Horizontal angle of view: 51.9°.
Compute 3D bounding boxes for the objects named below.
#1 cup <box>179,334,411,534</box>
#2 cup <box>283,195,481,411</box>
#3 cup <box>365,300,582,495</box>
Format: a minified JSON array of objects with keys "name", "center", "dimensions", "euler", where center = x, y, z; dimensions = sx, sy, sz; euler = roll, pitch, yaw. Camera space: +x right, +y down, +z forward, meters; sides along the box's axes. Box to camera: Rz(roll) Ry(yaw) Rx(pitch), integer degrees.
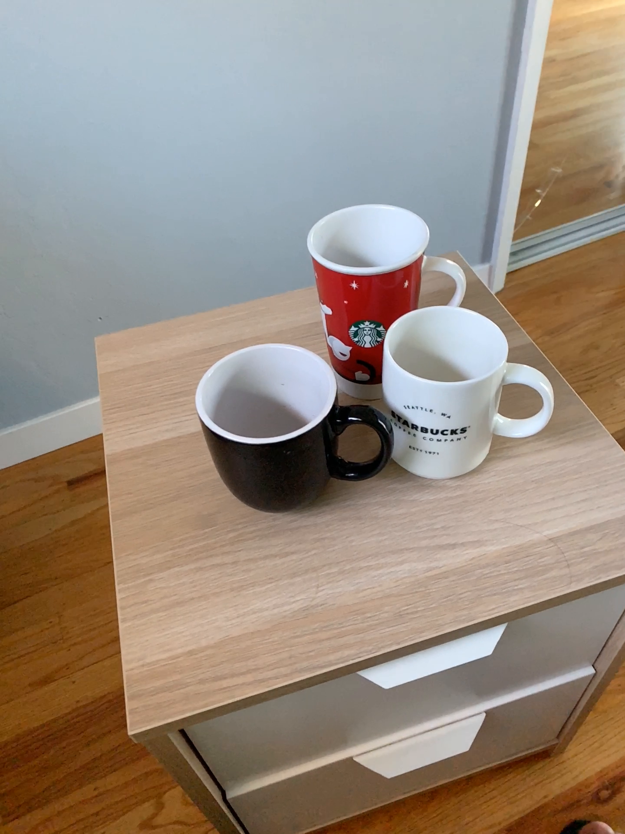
[{"name":"cup","center":[-0.004,0.010,0.455],"dimensions":[0.140,0.090,0.100],"euler":[3,46,8]},{"name":"cup","center":[0.063,-0.099,0.558],"dimensions":[0.140,0.139,0.100],"euler":[8,47,13]},{"name":"cup","center":[0.117,-0.017,0.496],"dimensions":[0.140,0.100,0.100],"euler":[4,47,10]}]
